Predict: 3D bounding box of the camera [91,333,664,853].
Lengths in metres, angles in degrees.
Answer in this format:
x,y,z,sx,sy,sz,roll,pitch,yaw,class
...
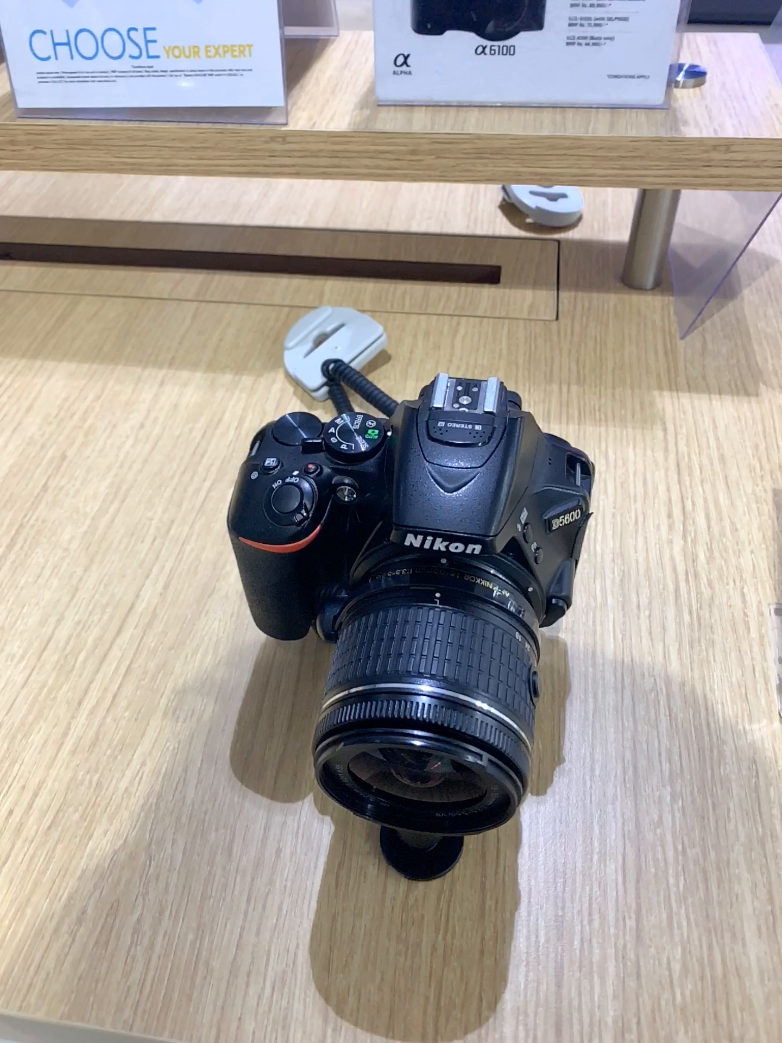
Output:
x,y,z,sx,sy,sz,roll,pitch,yaw,class
0.005,0.015,0.239,0.124,0.080,0.114,7,47,7,camera
